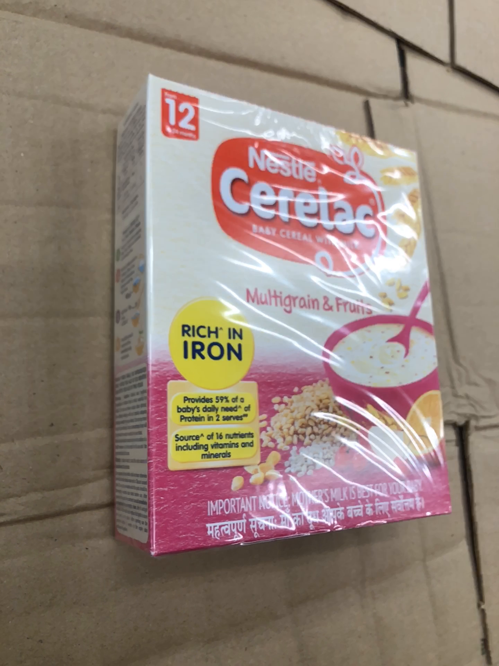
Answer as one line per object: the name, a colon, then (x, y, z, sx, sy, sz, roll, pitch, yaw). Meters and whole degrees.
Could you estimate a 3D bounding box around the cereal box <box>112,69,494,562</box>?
cereal box: (0.025, -0.004, 0.250, 0.161, 0.050, 0.170, 3, 79, -29)
